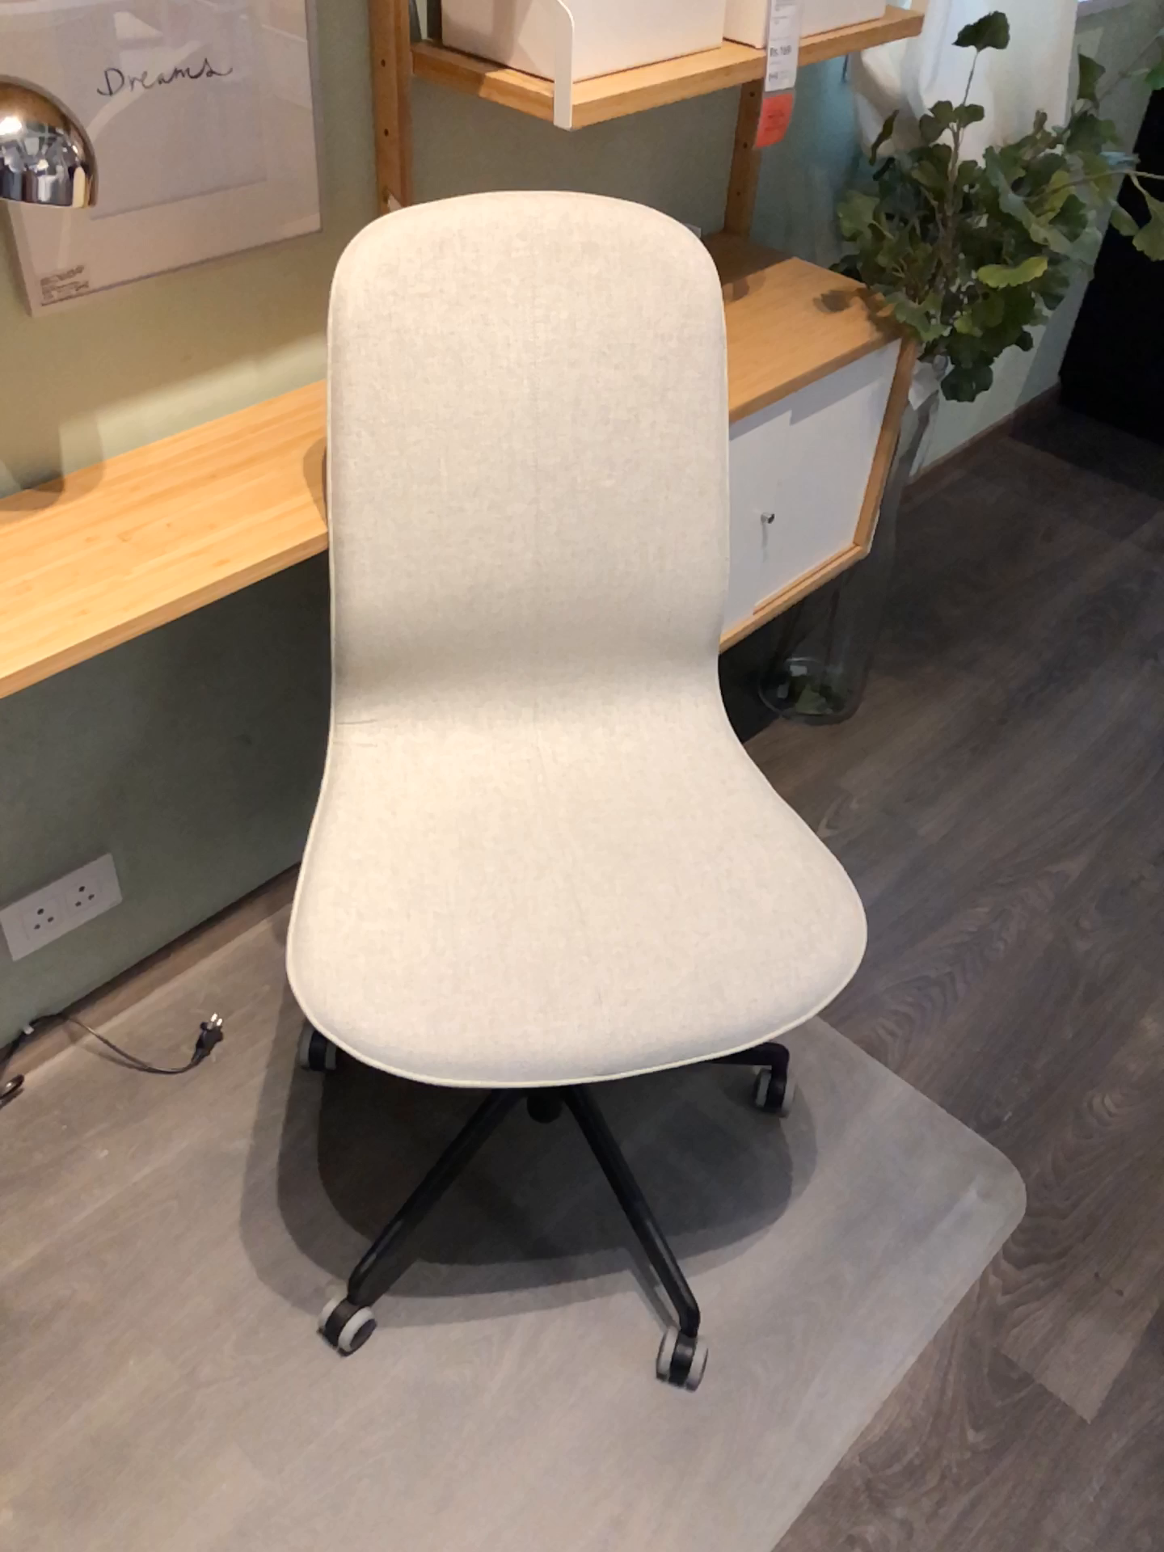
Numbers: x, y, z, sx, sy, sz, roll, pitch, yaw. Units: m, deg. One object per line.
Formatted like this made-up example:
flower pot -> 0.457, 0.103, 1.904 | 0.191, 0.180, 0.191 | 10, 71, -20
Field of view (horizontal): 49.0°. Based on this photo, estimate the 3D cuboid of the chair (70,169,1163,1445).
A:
chair -> 0.004, 0.040, 1.153 | 0.620, 0.904, 0.654 | -3, 42, -9
